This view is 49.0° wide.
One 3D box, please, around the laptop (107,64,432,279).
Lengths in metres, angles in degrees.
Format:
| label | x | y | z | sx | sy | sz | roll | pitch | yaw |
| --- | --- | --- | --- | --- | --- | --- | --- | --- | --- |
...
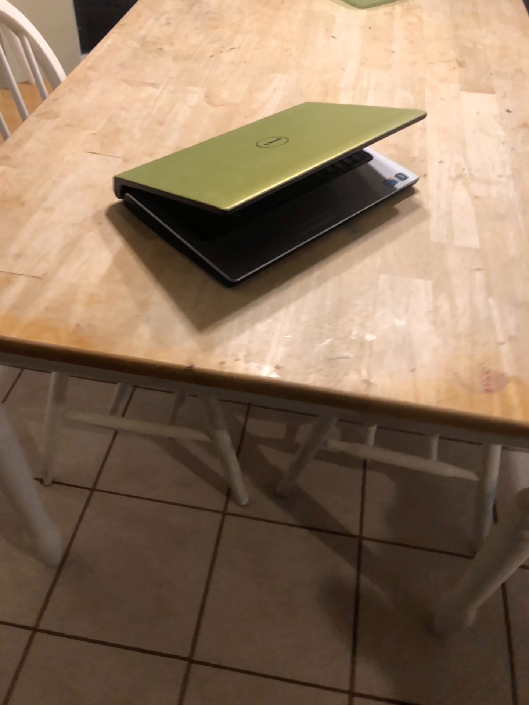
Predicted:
| label | x | y | z | sx | sy | sz | roll | pitch | yaw |
| --- | --- | --- | --- | --- | --- | --- | --- | --- | --- |
| laptop | 0.016 | -0.262 | 0.778 | 0.359 | 0.076 | 0.227 | -33 | 60 | -29 |
